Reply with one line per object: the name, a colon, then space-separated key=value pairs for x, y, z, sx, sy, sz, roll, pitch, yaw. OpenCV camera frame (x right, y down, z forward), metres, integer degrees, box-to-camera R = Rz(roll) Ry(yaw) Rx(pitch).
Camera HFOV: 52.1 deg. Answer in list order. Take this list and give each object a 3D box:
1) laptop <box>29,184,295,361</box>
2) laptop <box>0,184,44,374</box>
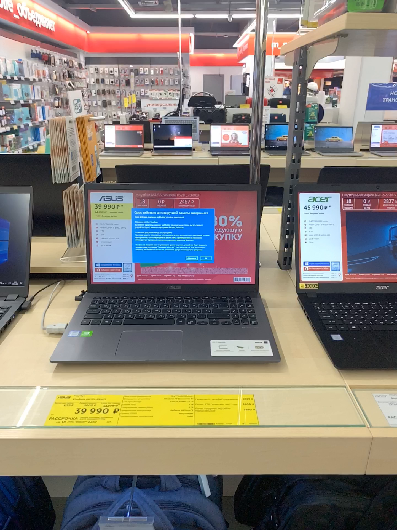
laptop: x=-0.051 y=-0.008 z=0.738 sx=0.366 sy=0.217 sz=0.299 roll=0 pitch=22 yaw=-1
laptop: x=-0.536 y=-0.003 z=0.734 sx=0.349 sy=0.214 sz=0.363 roll=1 pitch=22 yaw=-1
